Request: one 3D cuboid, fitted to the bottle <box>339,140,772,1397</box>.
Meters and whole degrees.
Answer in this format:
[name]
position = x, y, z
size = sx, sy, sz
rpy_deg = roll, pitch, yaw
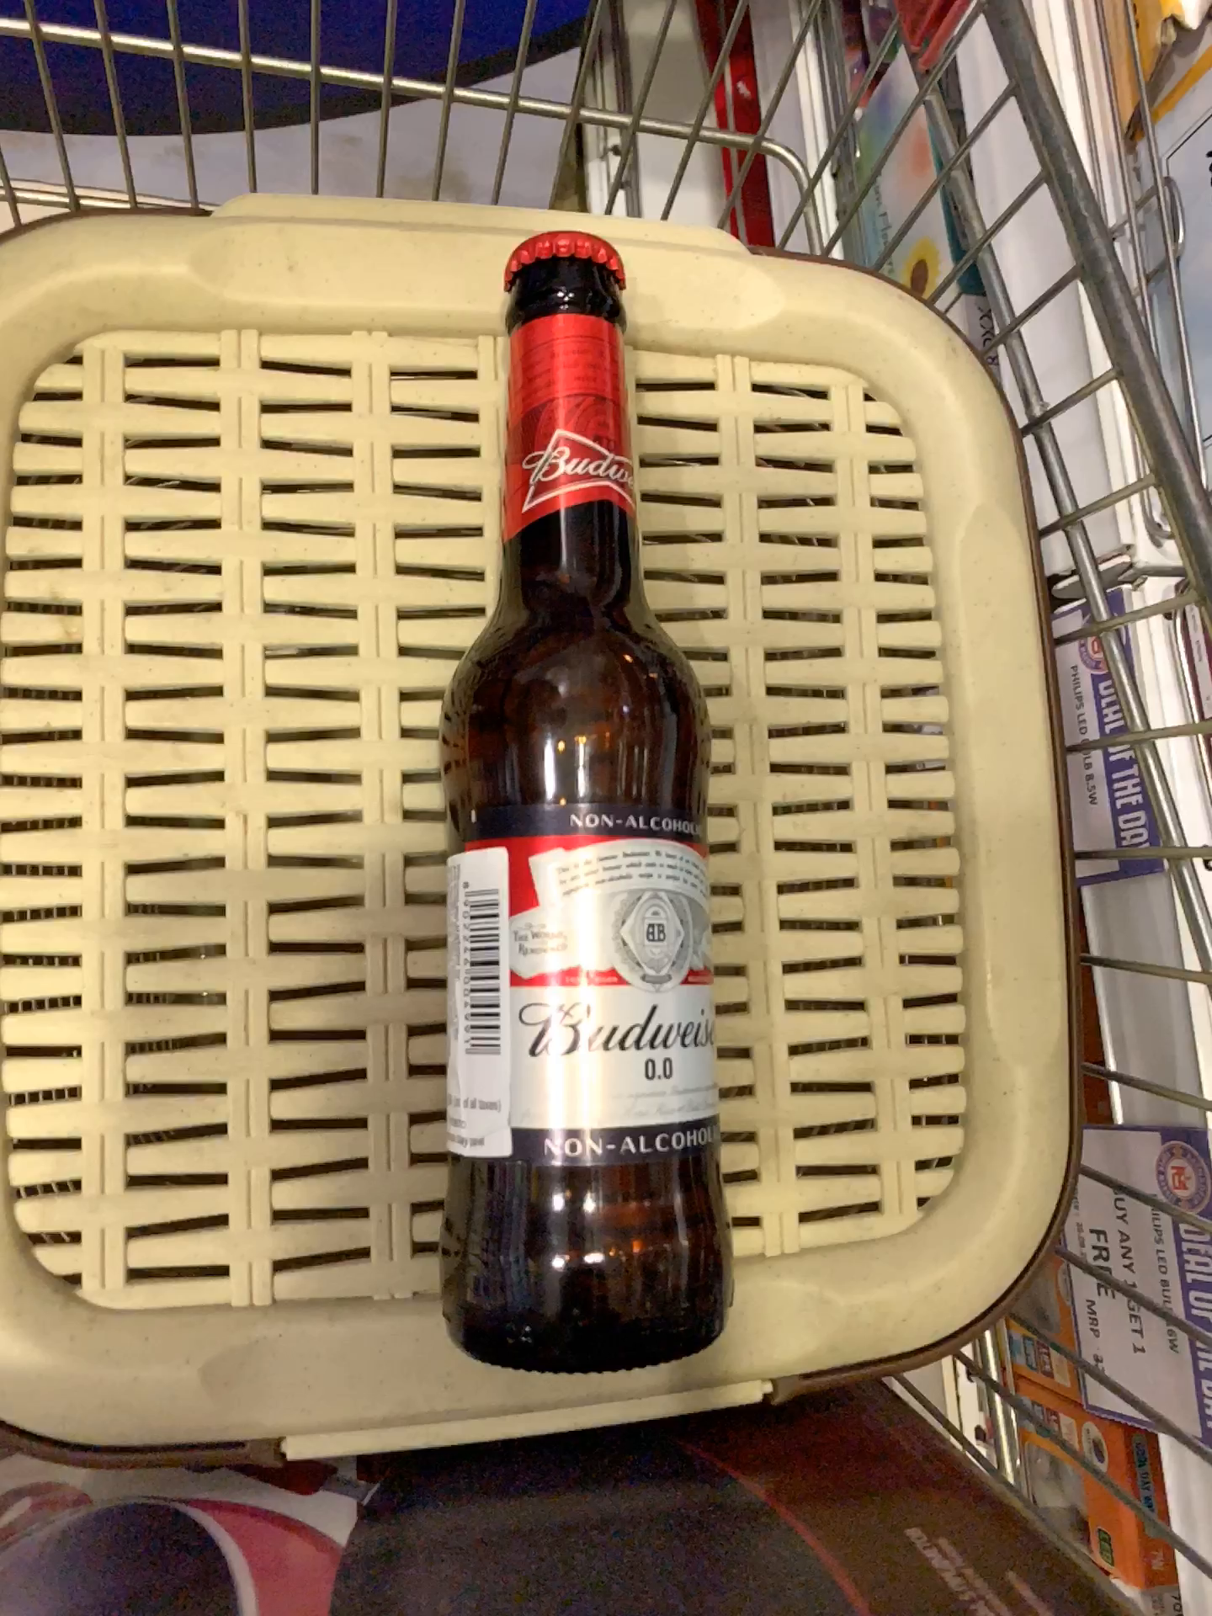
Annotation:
[bottle]
position = -0.014, -0.009, 0.256
size = 0.060, 0.060, 0.220
rpy_deg = 1, 83, -29
